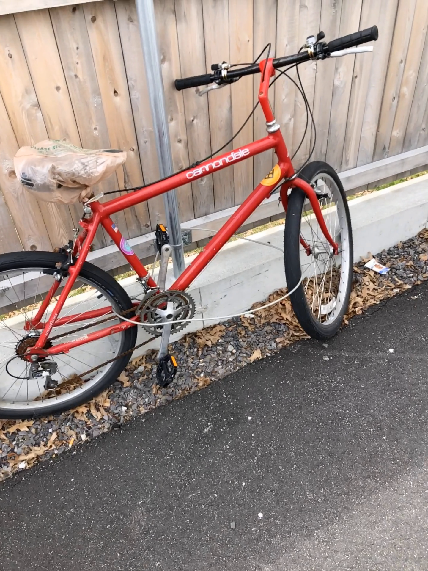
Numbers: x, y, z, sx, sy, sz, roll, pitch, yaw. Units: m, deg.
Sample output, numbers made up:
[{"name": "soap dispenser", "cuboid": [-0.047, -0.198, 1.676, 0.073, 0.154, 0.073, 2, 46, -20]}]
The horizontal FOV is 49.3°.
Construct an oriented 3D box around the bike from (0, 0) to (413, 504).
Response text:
[{"name": "bike", "cuboid": [-0.203, -0.240, 1.479, 1.477, 1.001, 0.595, -23, 40, -18]}]
